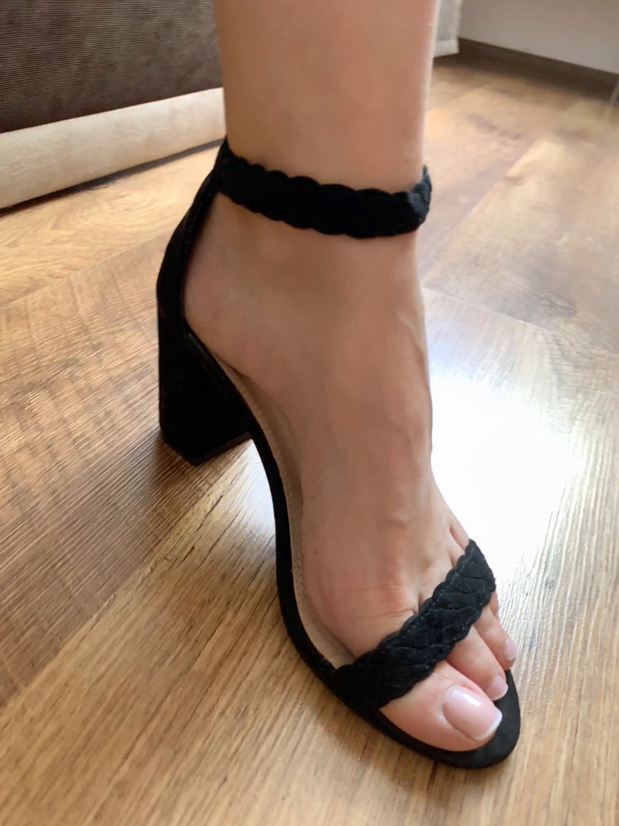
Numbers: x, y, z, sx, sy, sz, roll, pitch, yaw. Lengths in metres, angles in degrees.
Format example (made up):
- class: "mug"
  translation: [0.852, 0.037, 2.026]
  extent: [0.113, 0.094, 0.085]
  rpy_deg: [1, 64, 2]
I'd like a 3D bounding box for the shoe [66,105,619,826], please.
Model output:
- class: "shoe"
  translation: [0.006, -0.001, 0.236]
  extent: [0.090, 0.149, 0.231]
  rpy_deg: [-20, 46, -35]
